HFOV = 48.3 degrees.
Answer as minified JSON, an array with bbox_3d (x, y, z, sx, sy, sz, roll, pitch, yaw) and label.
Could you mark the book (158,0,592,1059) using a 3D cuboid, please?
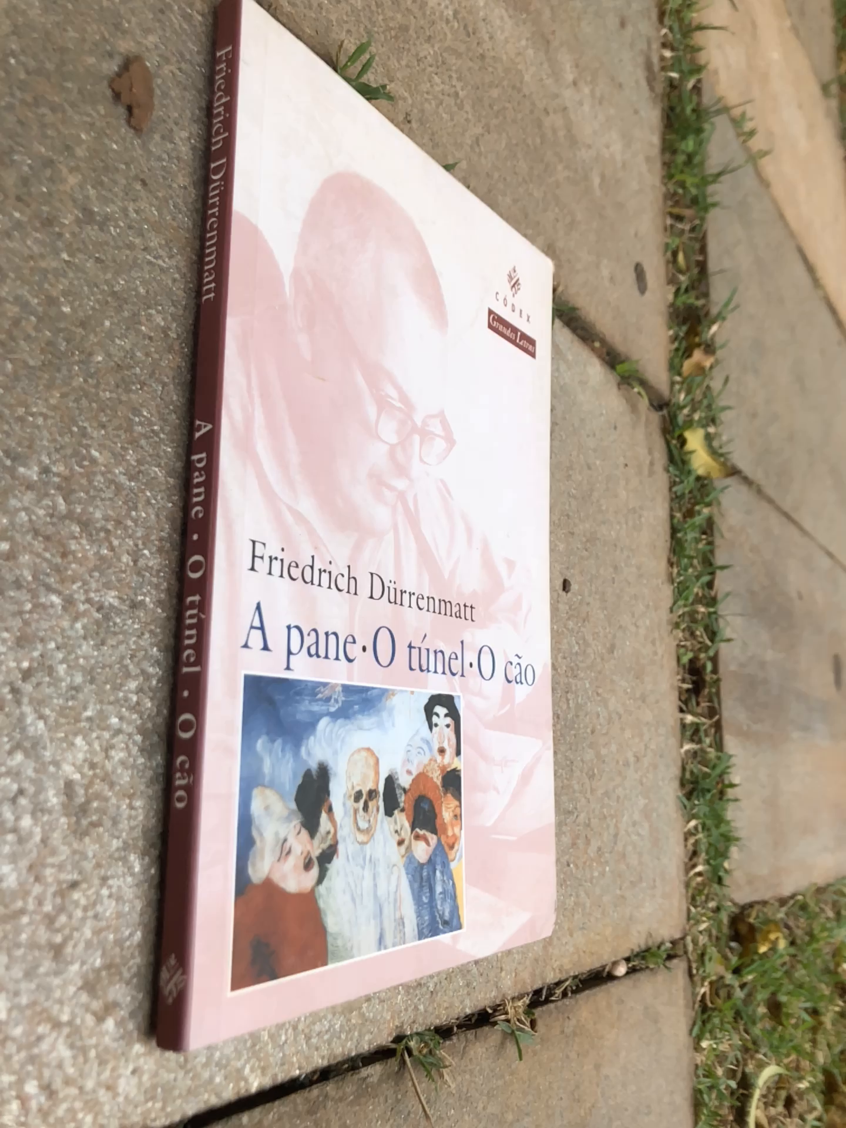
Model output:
[{"bbox_3d":[0.003,-0.006,0.231,0.141,0.015,0.199,17,71,-54],"label":"book"}]
